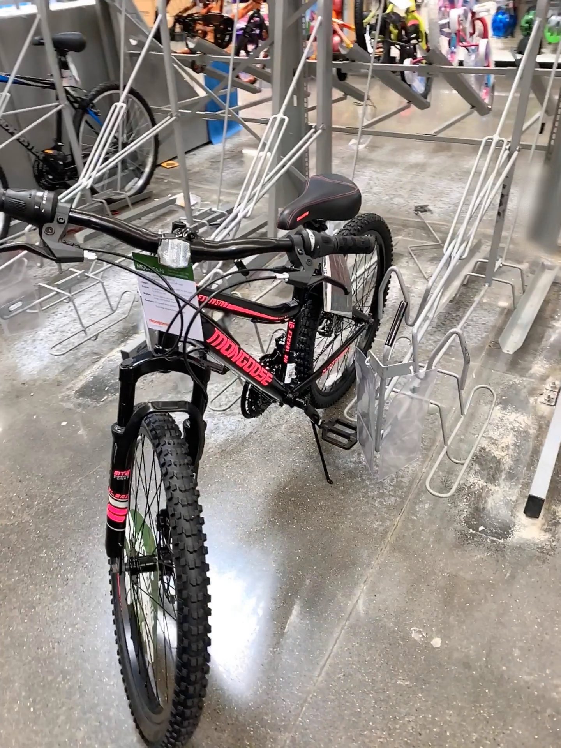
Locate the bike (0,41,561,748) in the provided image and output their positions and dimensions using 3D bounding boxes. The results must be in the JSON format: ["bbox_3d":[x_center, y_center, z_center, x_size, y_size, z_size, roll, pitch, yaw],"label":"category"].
[{"bbox_3d":[0.132,-0.098,1.245,0.638,0.963,1.410,10,37,18],"label":"bike"}]
